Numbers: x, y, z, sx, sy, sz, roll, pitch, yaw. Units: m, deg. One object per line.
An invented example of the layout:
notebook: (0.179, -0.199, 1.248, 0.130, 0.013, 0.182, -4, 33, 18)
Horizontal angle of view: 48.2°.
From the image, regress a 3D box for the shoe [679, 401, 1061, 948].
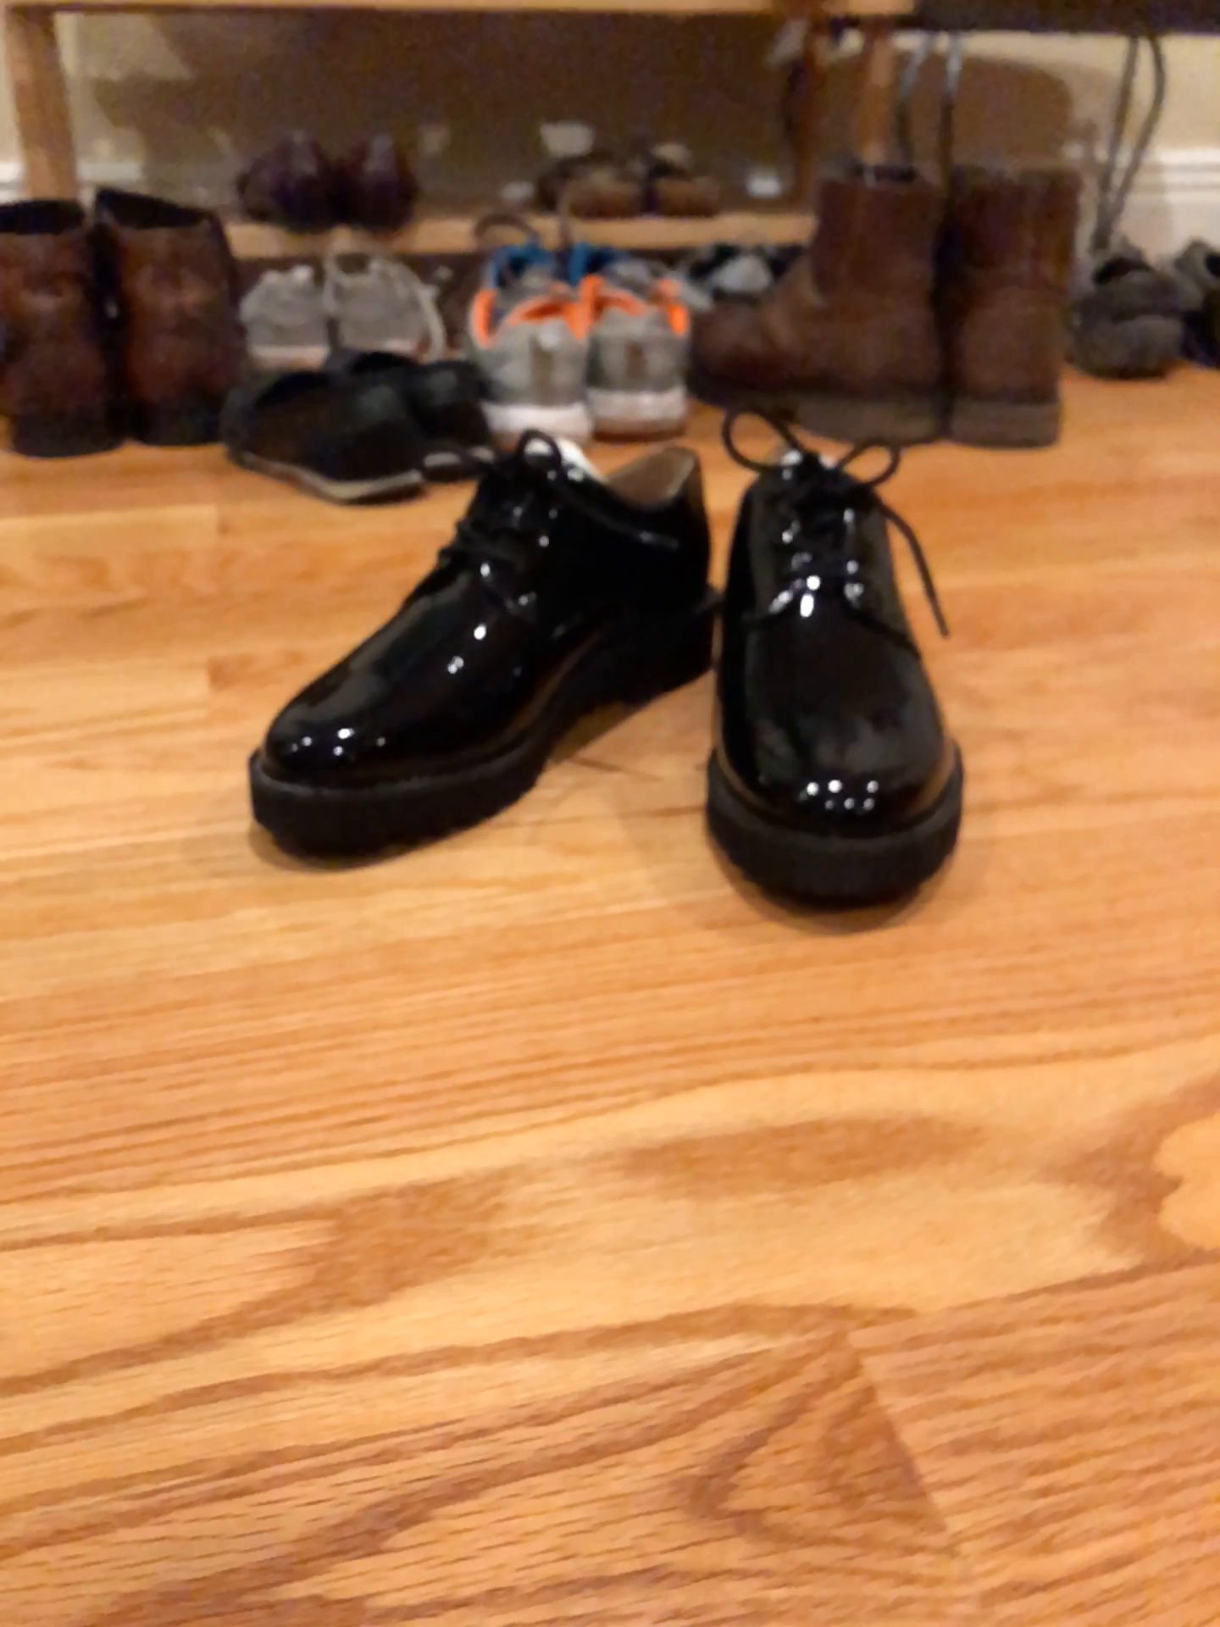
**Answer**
shoe: (0.081, -0.068, 0.487, 0.095, 0.101, 0.252, 3, 28, 5)

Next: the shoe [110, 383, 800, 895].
shoe: (-0.039, -0.081, 0.504, 0.095, 0.101, 0.252, 20, 34, 33)
